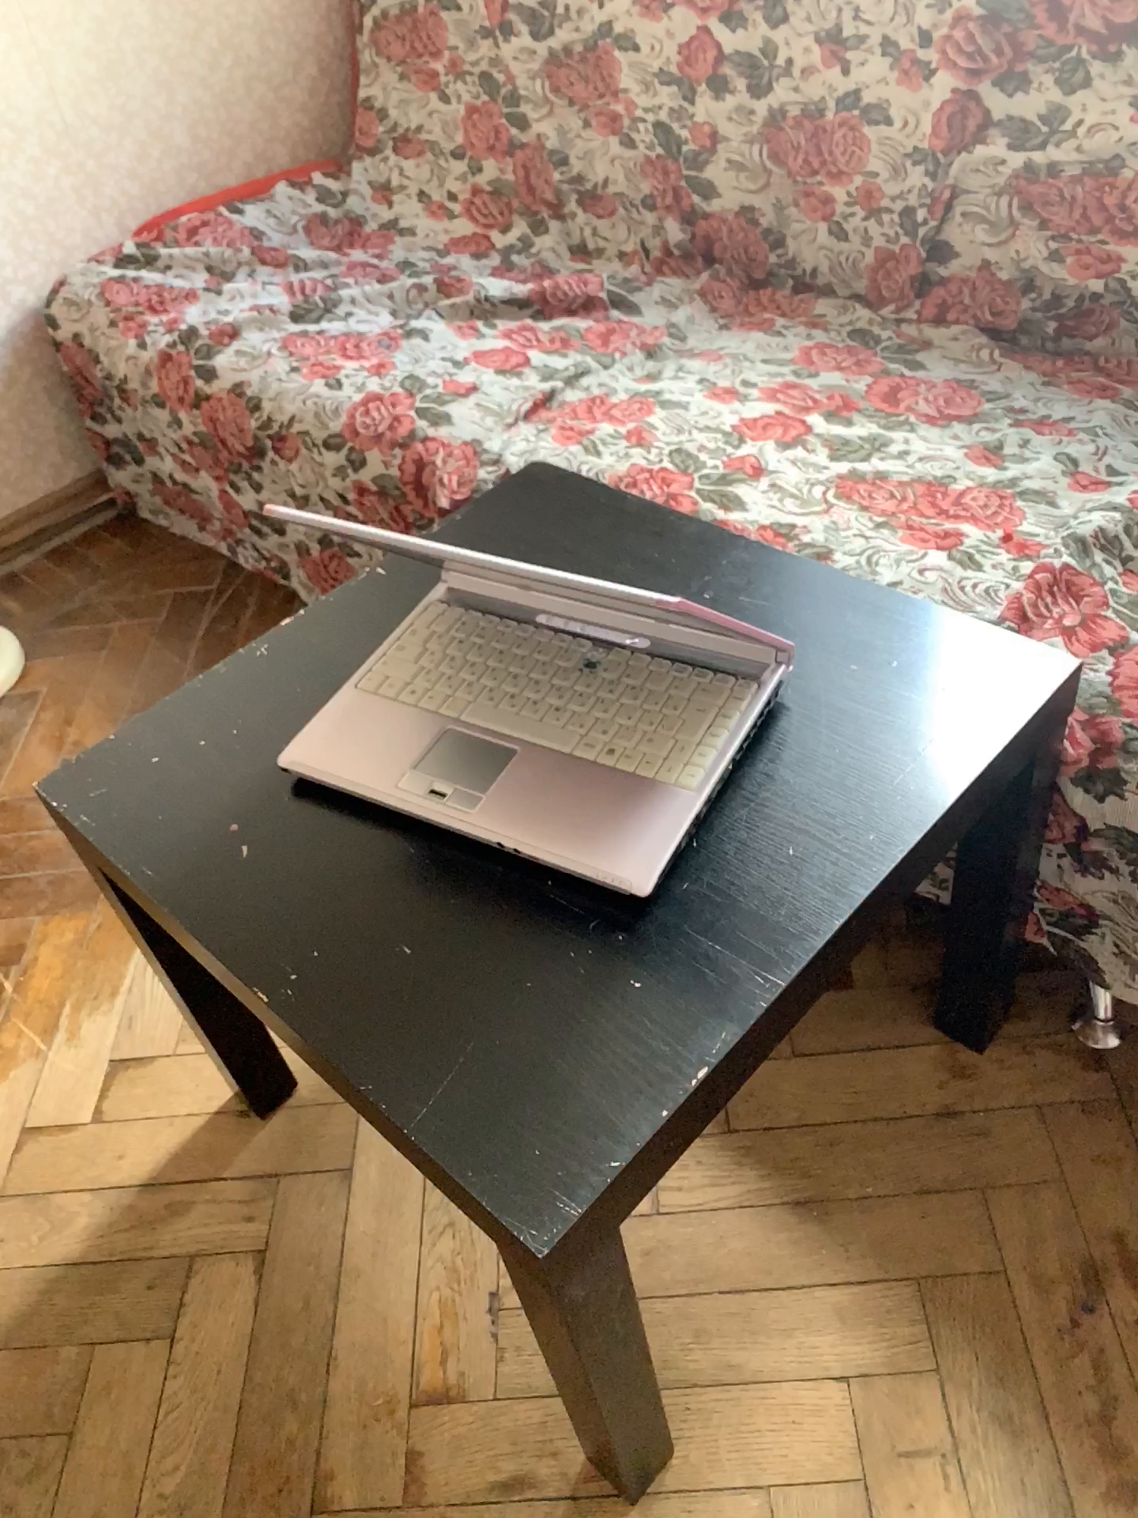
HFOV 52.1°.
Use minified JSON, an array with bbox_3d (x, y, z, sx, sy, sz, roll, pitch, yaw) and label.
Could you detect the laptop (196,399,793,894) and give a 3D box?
[{"bbox_3d":[-0.038,-0.092,0.776,0.305,0.156,0.226,17,51,27],"label":"laptop"}]
